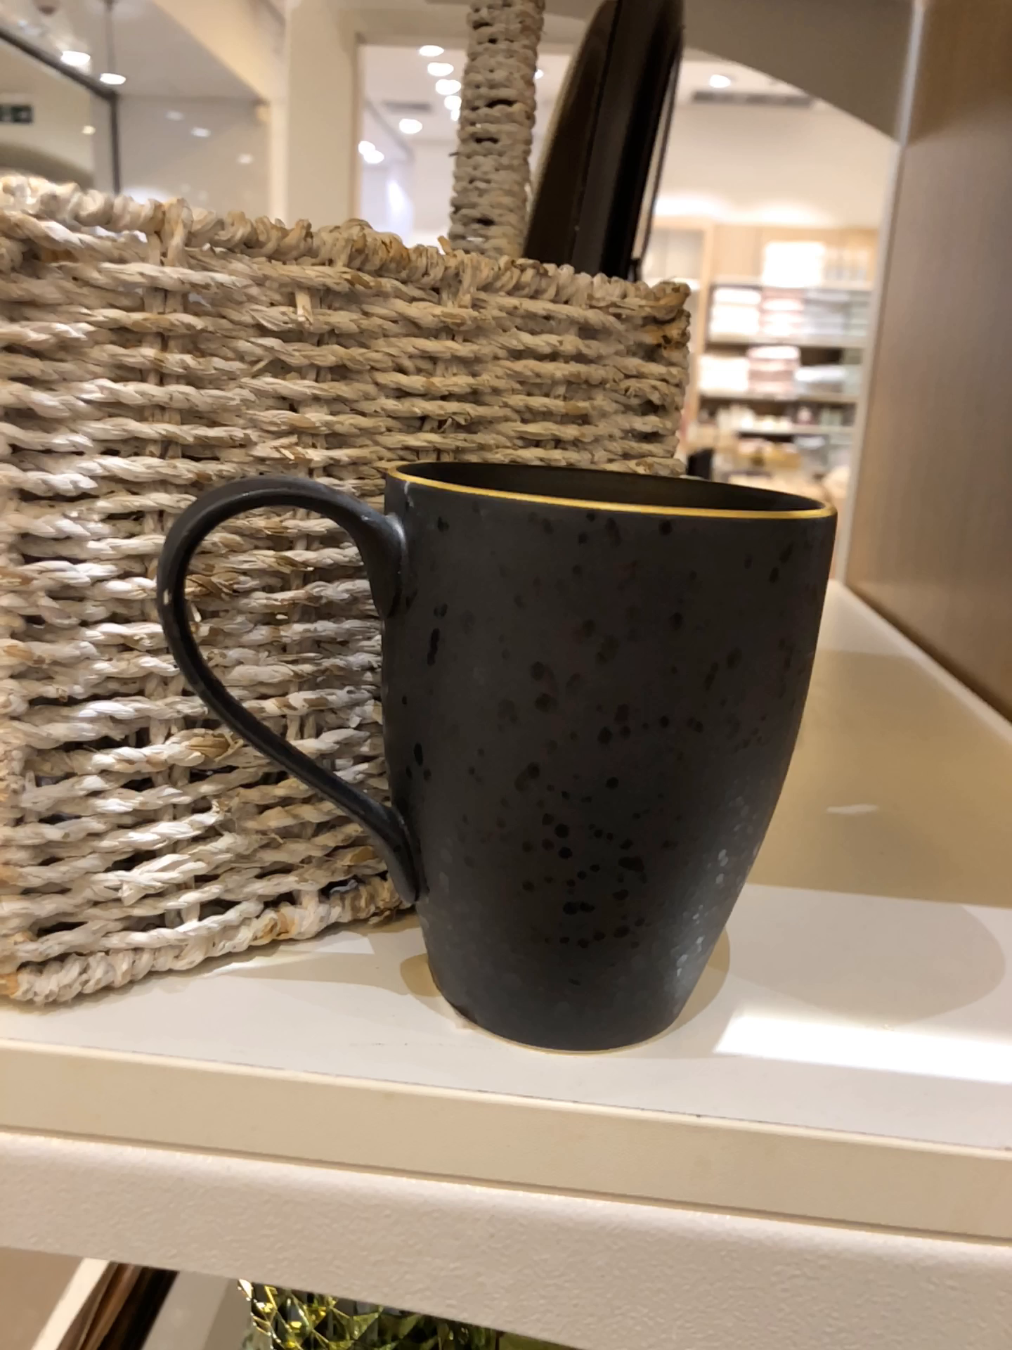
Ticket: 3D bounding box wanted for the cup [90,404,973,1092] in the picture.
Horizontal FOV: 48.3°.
[{"bbox_3d":[0.000,0.006,0.204,0.120,0.100,0.080,2,15,-4],"label":"cup"}]
